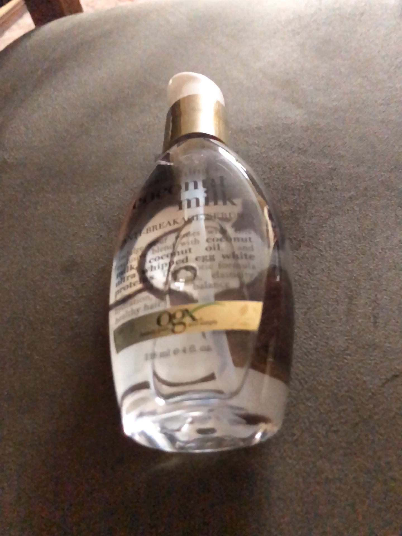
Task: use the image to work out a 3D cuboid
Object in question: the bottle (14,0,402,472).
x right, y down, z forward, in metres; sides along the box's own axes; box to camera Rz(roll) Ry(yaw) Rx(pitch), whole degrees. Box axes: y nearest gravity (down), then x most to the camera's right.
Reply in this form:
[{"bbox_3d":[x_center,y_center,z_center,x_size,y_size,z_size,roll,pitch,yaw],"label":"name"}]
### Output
[{"bbox_3d":[0.004,-0.030,0.148,0.070,0.040,0.170,-5,51,7],"label":"bottle"}]
